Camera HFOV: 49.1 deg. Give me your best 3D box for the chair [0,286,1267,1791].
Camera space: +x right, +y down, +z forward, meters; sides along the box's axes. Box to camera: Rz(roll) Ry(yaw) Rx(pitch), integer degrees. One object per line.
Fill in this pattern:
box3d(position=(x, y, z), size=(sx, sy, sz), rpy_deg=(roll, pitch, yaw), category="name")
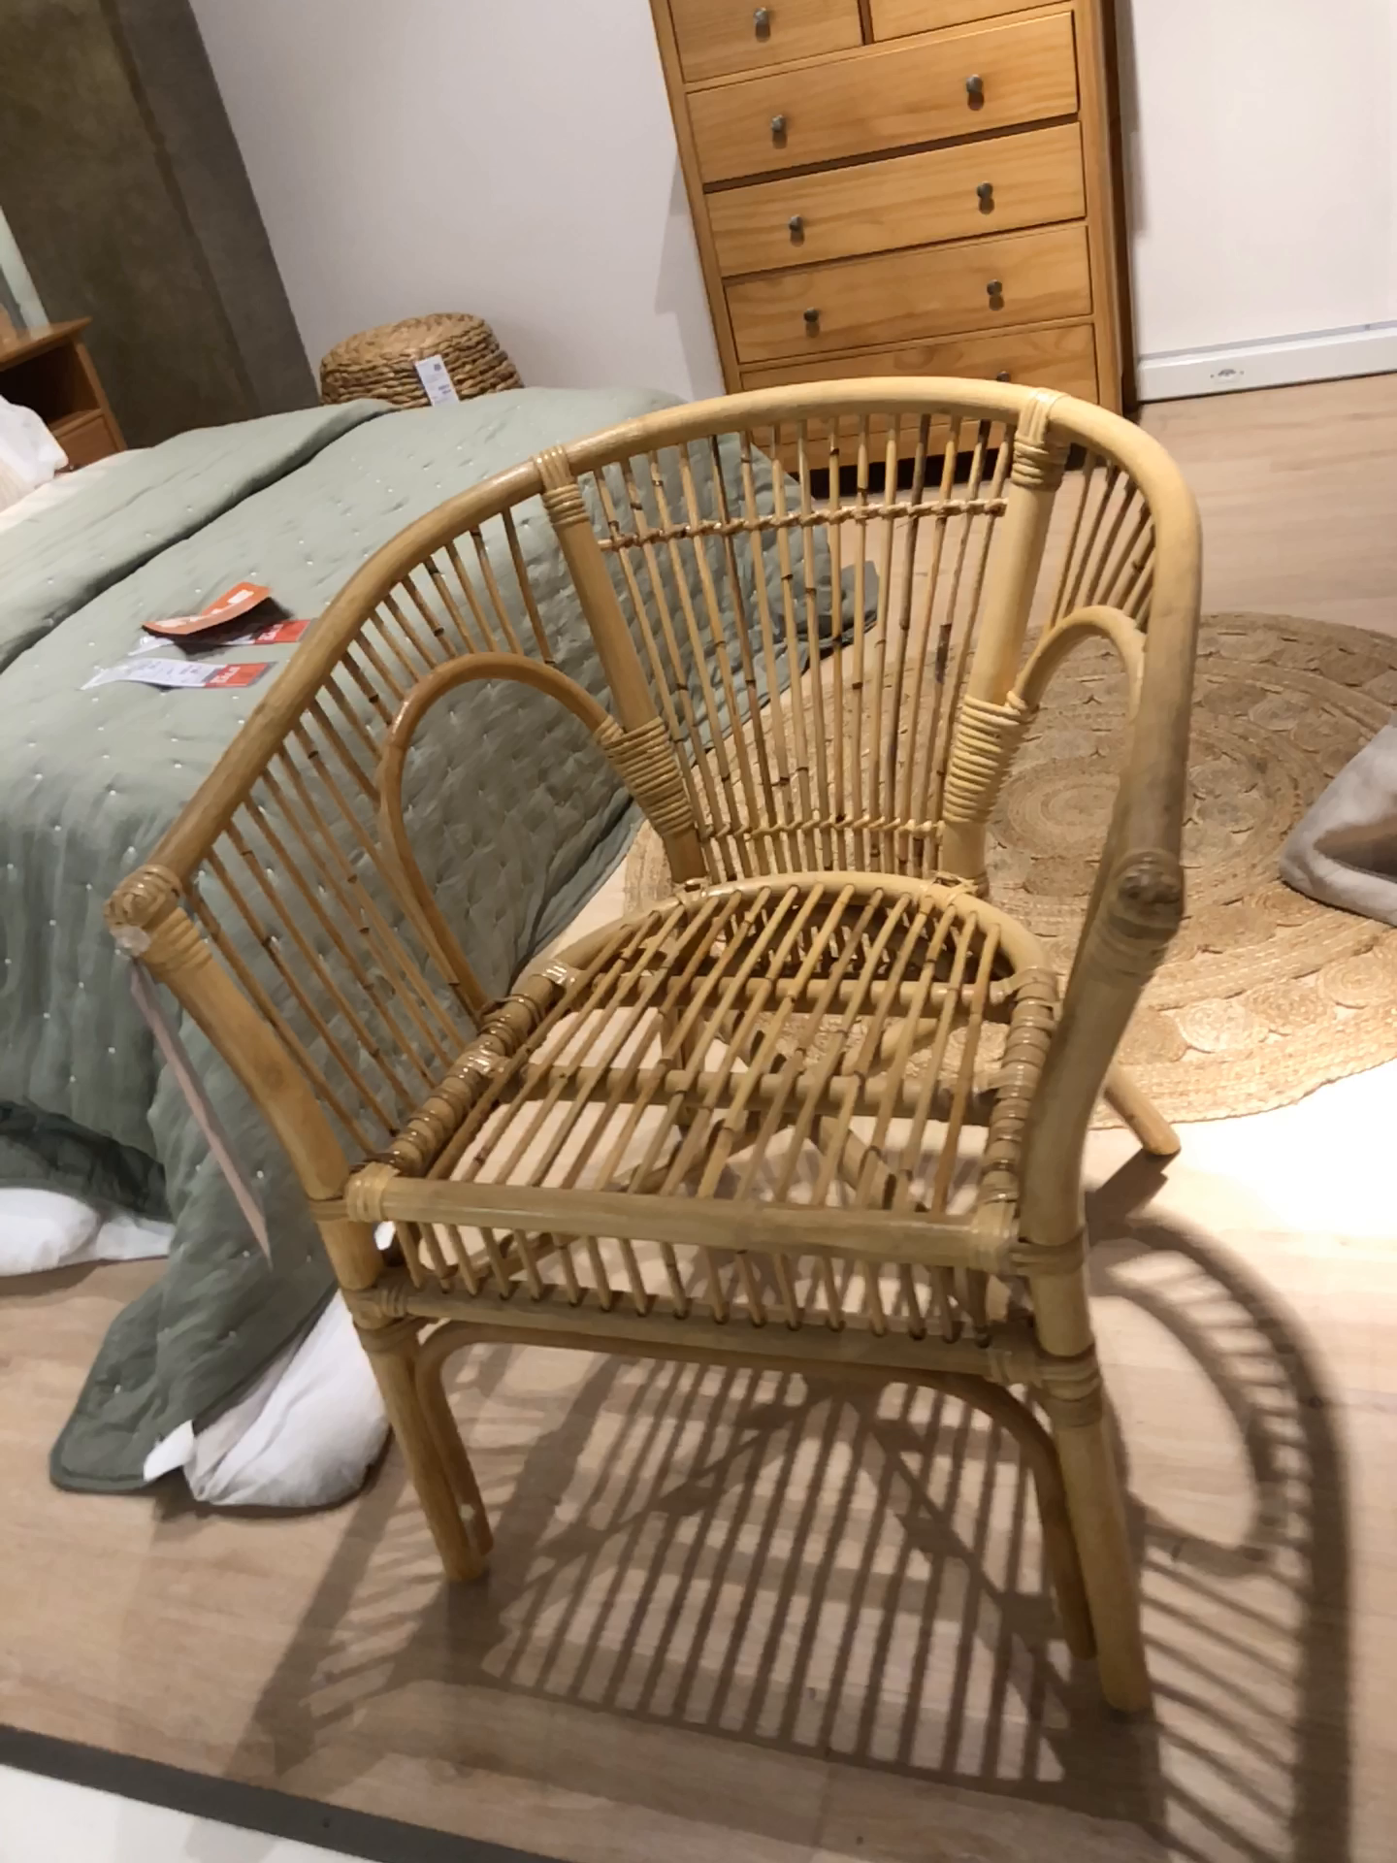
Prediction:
box3d(position=(0.084, 0.040, 1.120), size=(0.590, 0.754, 0.634), rpy_deg=(1, 34, 23), category="chair")
